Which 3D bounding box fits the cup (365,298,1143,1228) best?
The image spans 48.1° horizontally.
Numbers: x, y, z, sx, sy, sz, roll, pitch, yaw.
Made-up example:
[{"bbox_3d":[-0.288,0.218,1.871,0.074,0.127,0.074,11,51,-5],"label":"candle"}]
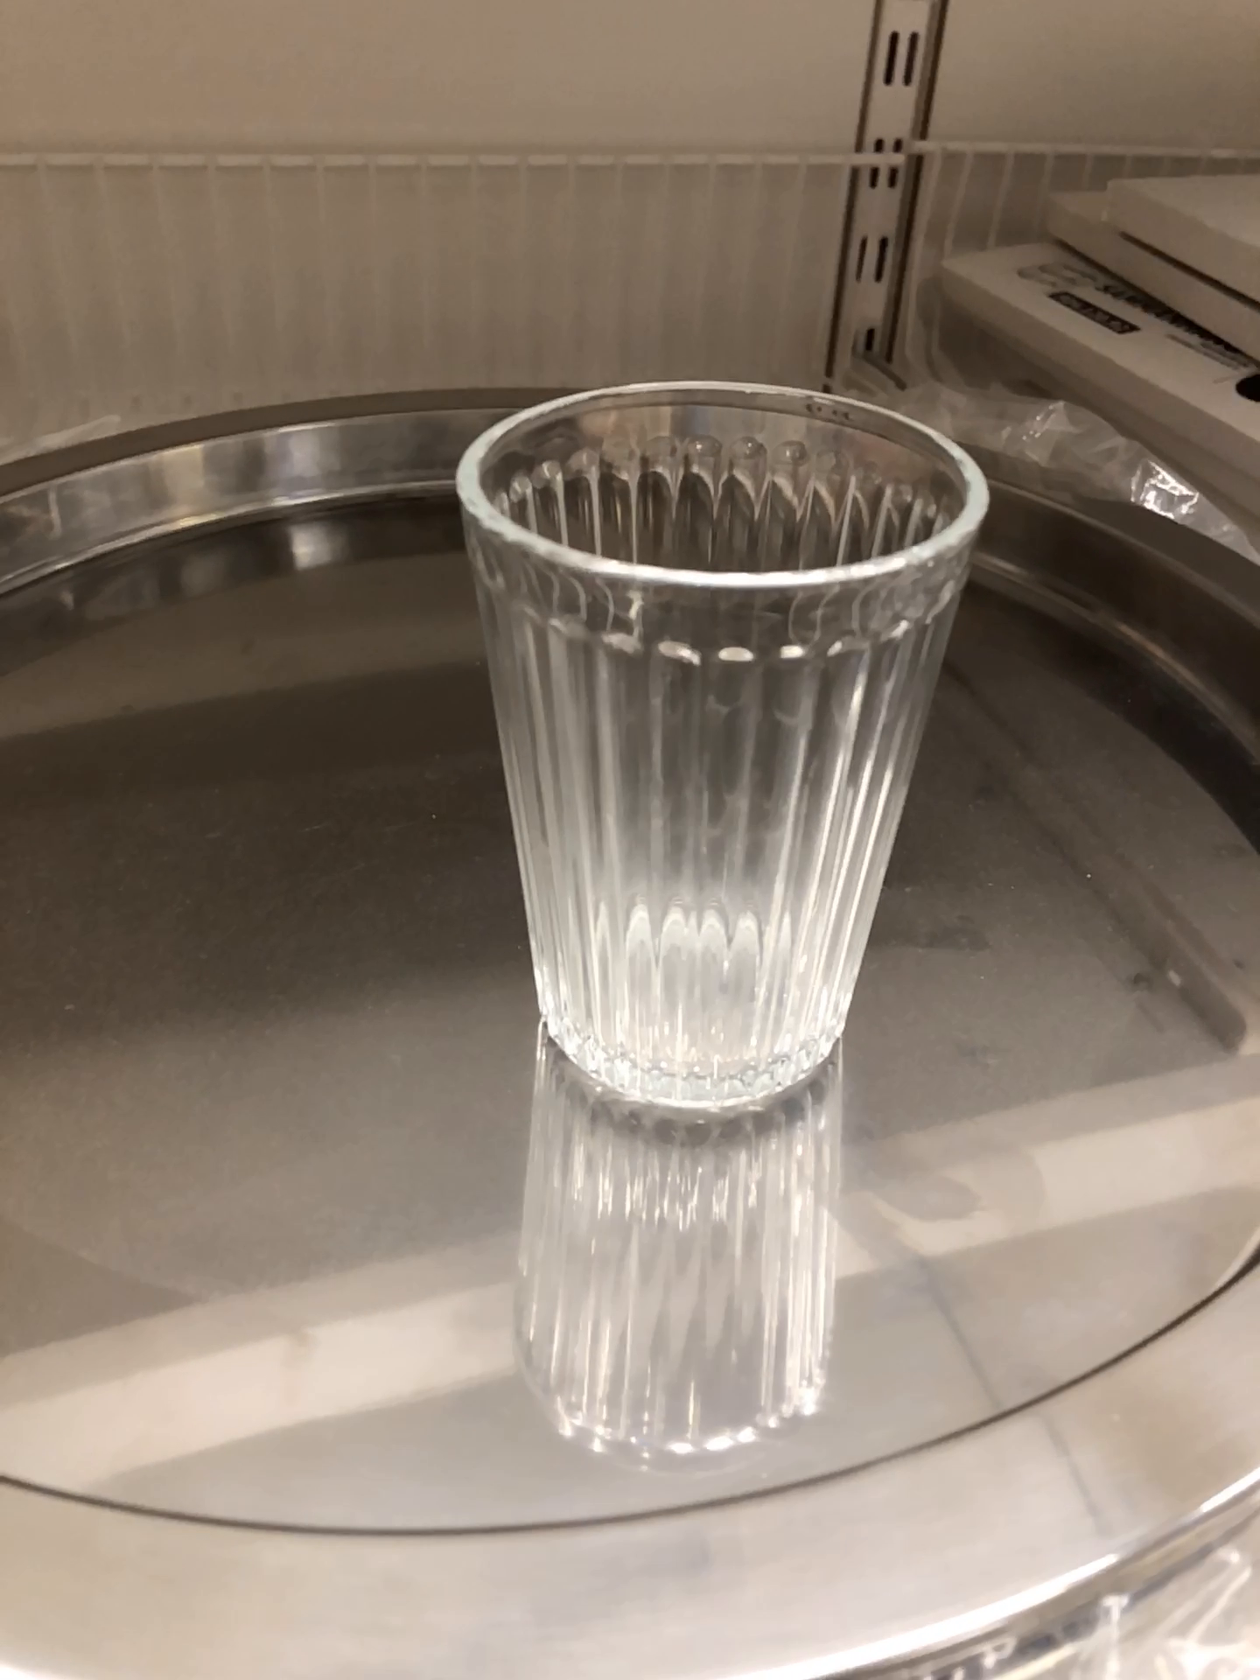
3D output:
[{"bbox_3d":[0.015,-0.015,0.209,0.070,0.100,0.070,0,36,0],"label":"cup"}]
